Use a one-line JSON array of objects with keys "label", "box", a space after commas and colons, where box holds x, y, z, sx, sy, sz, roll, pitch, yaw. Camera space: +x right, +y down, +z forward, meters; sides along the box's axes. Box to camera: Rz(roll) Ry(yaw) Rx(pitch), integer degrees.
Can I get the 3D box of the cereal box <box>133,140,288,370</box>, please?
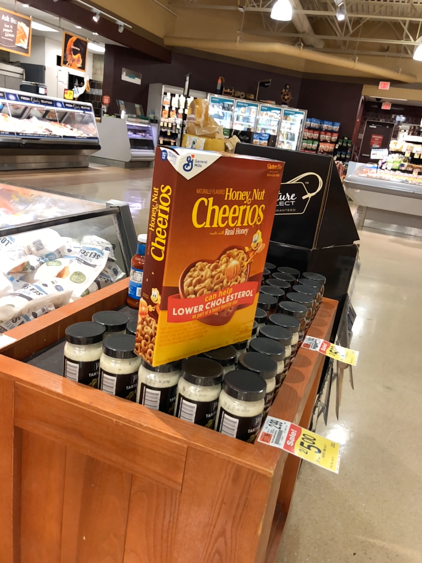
[{"label": "cereal box", "box": [0.000, -0.039, 0.655, 0.201, 0.288, 0.050, -9, 24, -43]}]
